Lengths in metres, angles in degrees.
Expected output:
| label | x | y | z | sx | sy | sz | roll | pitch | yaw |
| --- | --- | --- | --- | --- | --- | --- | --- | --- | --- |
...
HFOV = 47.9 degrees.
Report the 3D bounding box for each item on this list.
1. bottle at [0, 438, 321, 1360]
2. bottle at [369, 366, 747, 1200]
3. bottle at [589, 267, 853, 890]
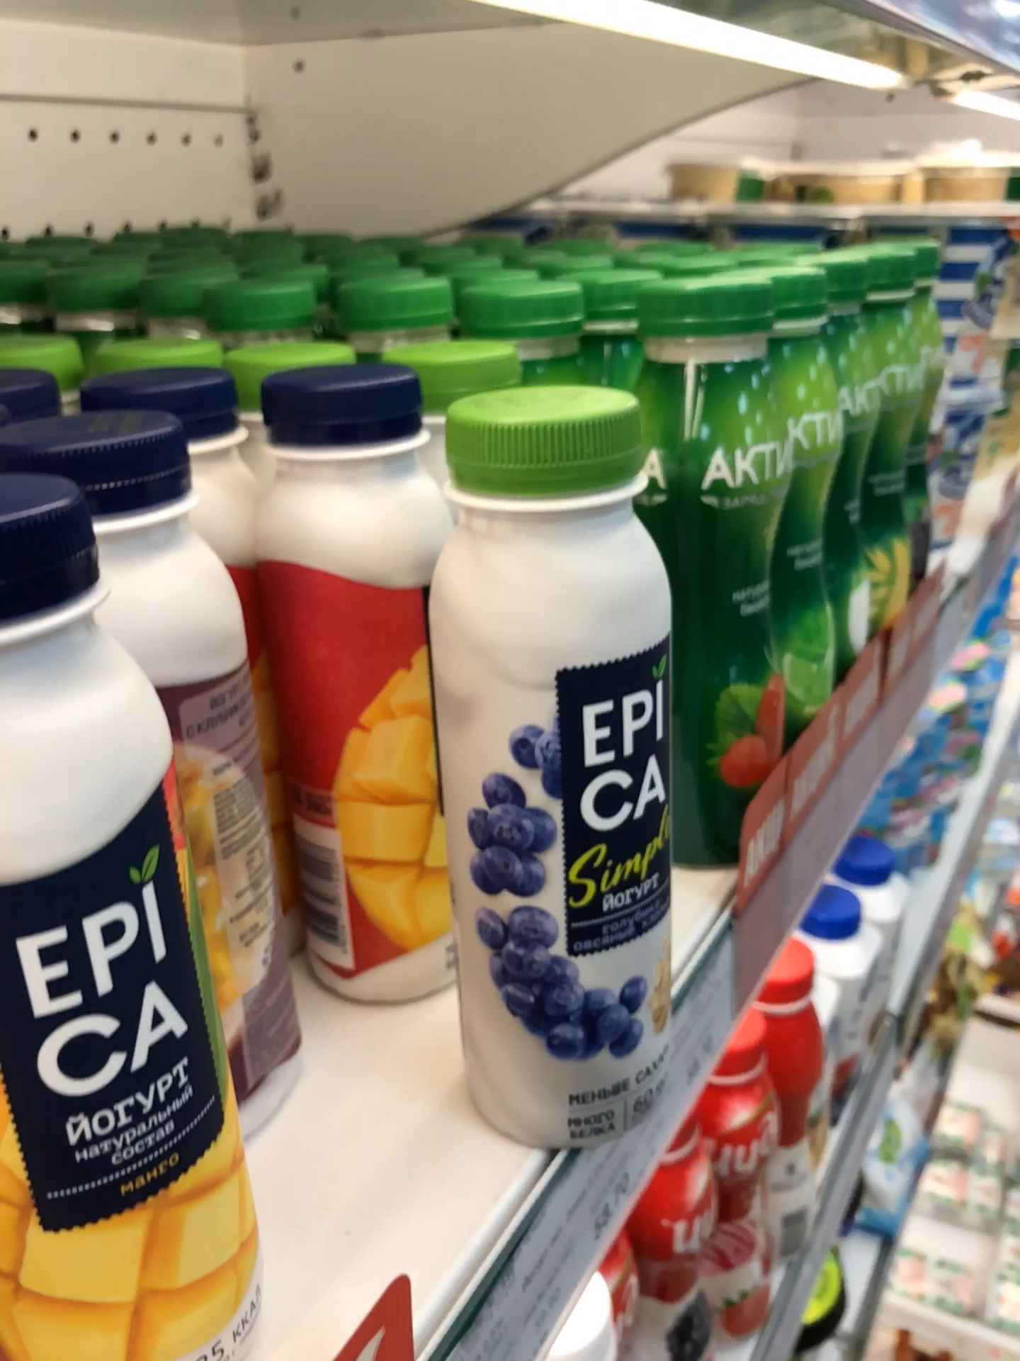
| label | x | y | z | sx | sy | sz | roll | pitch | yaw |
| --- | --- | --- | --- | --- | --- | --- | --- | --- | --- |
| bottle | -0.075 | 0.052 | 0.195 | 0.053 | 0.170 | 0.049 | -1 | 23 | 1 |
| bottle | 0.011 | 0.023 | 0.257 | 0.053 | 0.170 | 0.052 | -1 | 23 | 1 |
| bottle | 0.062 | -0.032 | 0.364 | 0.053 | 0.181 | 0.052 | -1 | 23 | 1 |
